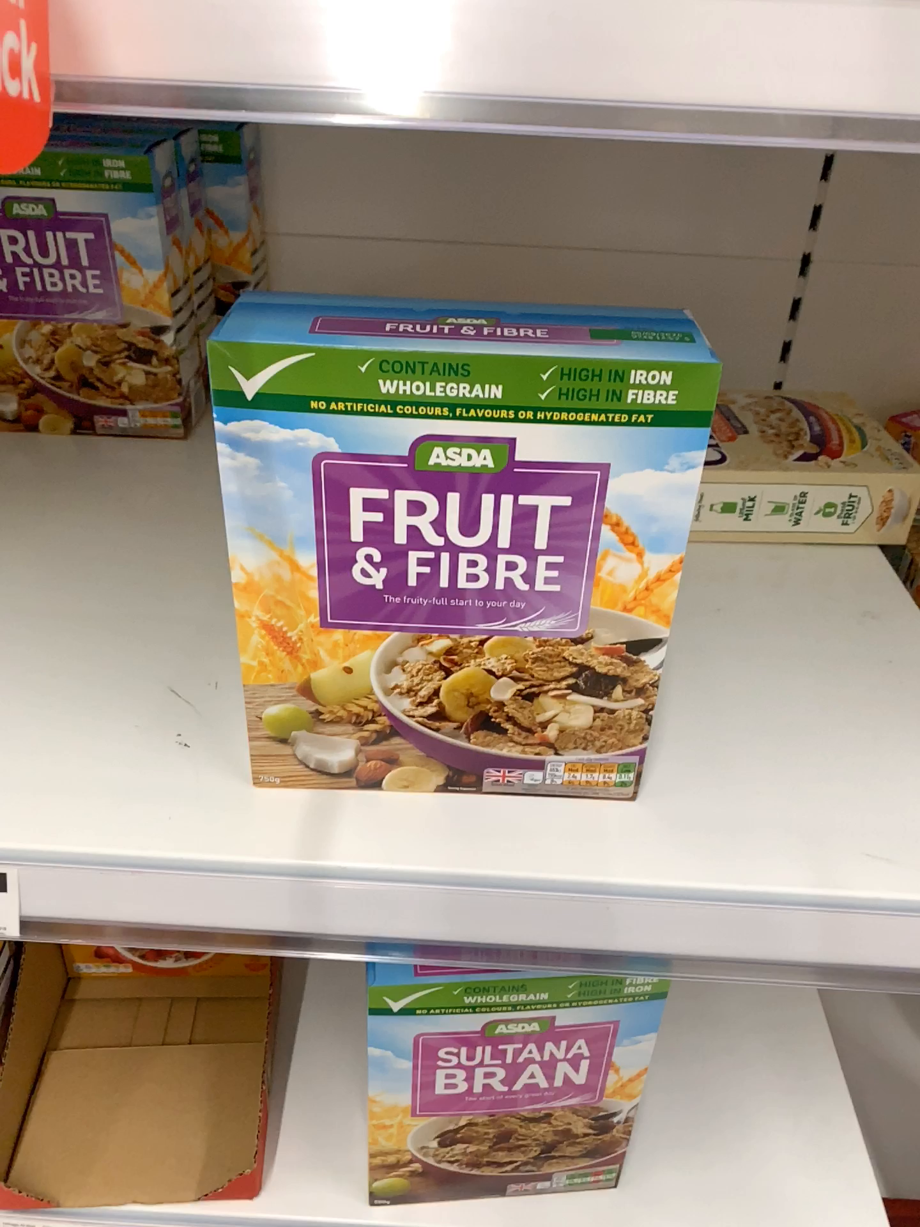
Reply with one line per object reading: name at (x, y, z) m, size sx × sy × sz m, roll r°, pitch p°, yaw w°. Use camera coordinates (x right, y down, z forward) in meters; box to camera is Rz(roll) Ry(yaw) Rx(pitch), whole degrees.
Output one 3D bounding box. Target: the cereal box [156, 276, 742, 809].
cereal box at (-0.008, -0.027, 0.488) m, size 0.240 × 0.258 × 0.081 m, roll 2°, pitch 32°, yaw 0°
